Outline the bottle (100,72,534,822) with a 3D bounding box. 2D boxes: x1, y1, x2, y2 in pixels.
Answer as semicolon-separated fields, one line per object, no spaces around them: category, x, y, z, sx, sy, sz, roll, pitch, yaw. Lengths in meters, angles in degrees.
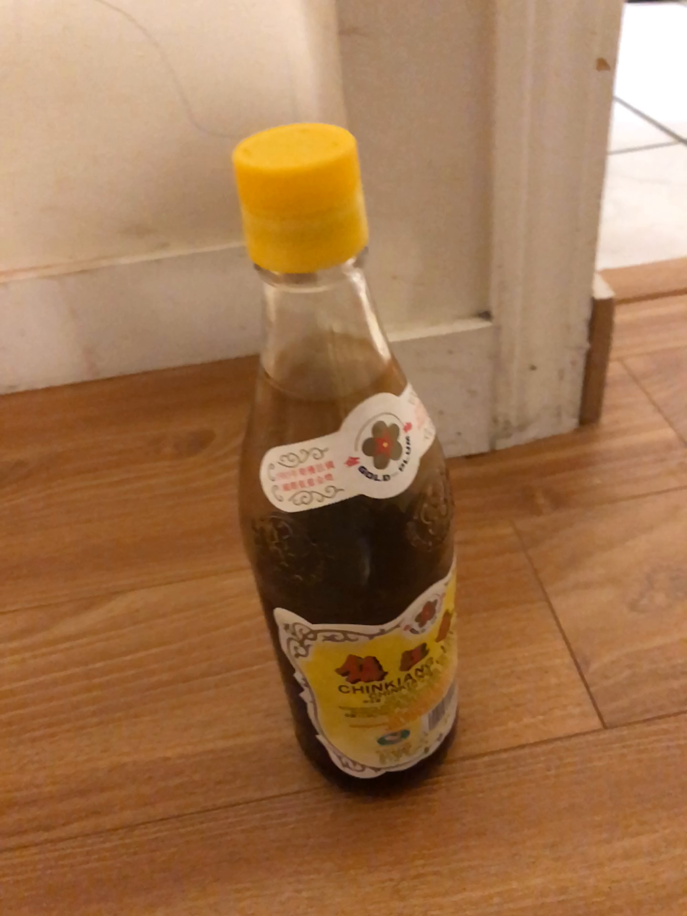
bottle;0.004;0.014;0.244;0.070;0.228;0.070;-5;40;4
